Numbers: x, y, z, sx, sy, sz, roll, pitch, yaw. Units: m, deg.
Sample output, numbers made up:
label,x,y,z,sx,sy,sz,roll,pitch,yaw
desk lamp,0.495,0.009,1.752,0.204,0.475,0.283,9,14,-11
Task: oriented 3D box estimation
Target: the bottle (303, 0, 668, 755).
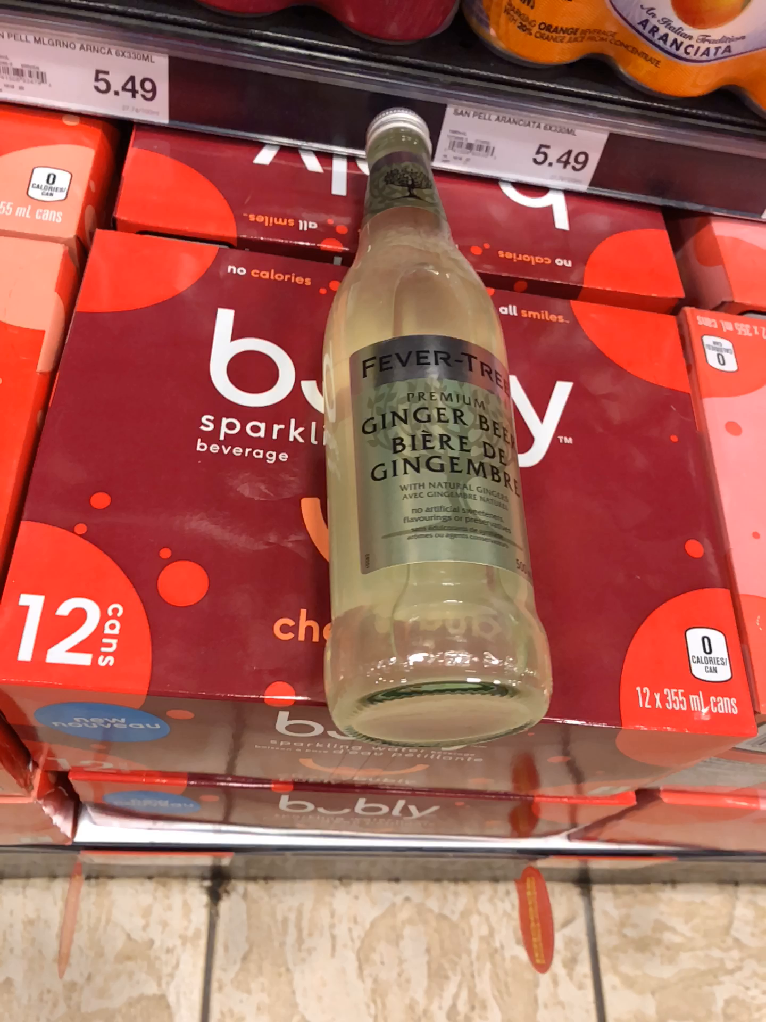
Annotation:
label,x,y,z,sx,sy,sz,roll,pitch,yaw
bottle,0.018,-0.061,0.300,0.080,0.080,0.270,4,60,-11
